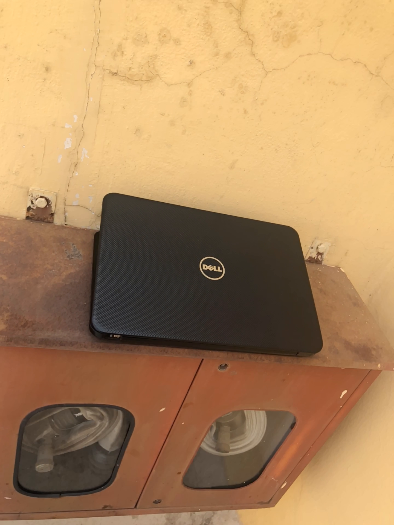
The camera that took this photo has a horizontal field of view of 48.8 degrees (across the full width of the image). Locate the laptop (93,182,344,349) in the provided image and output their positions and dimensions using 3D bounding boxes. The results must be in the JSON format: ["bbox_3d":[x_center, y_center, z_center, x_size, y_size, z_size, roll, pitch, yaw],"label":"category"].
[{"bbox_3d":[0.032,0.009,0.684,0.352,0.098,0.184,8,44,-18],"label":"laptop"}]
